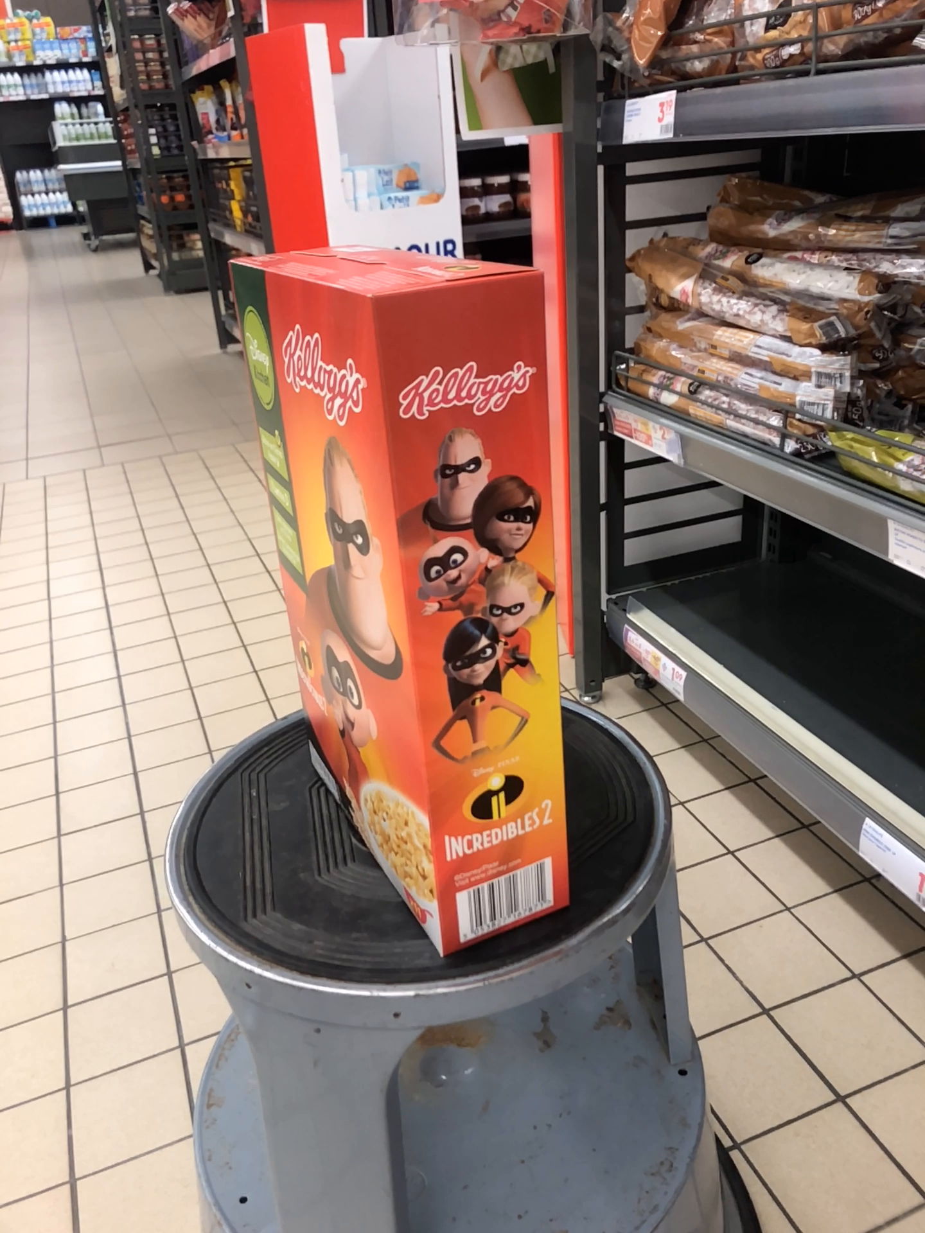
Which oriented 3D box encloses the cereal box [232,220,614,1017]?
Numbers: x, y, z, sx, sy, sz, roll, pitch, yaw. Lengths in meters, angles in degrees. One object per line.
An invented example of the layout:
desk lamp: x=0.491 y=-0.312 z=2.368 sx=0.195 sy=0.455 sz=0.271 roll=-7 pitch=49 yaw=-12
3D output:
cereal box: x=-0.019 y=-0.012 z=0.471 sx=0.080 sy=0.308 sz=0.201 roll=-15 pitch=27 yaw=-20
